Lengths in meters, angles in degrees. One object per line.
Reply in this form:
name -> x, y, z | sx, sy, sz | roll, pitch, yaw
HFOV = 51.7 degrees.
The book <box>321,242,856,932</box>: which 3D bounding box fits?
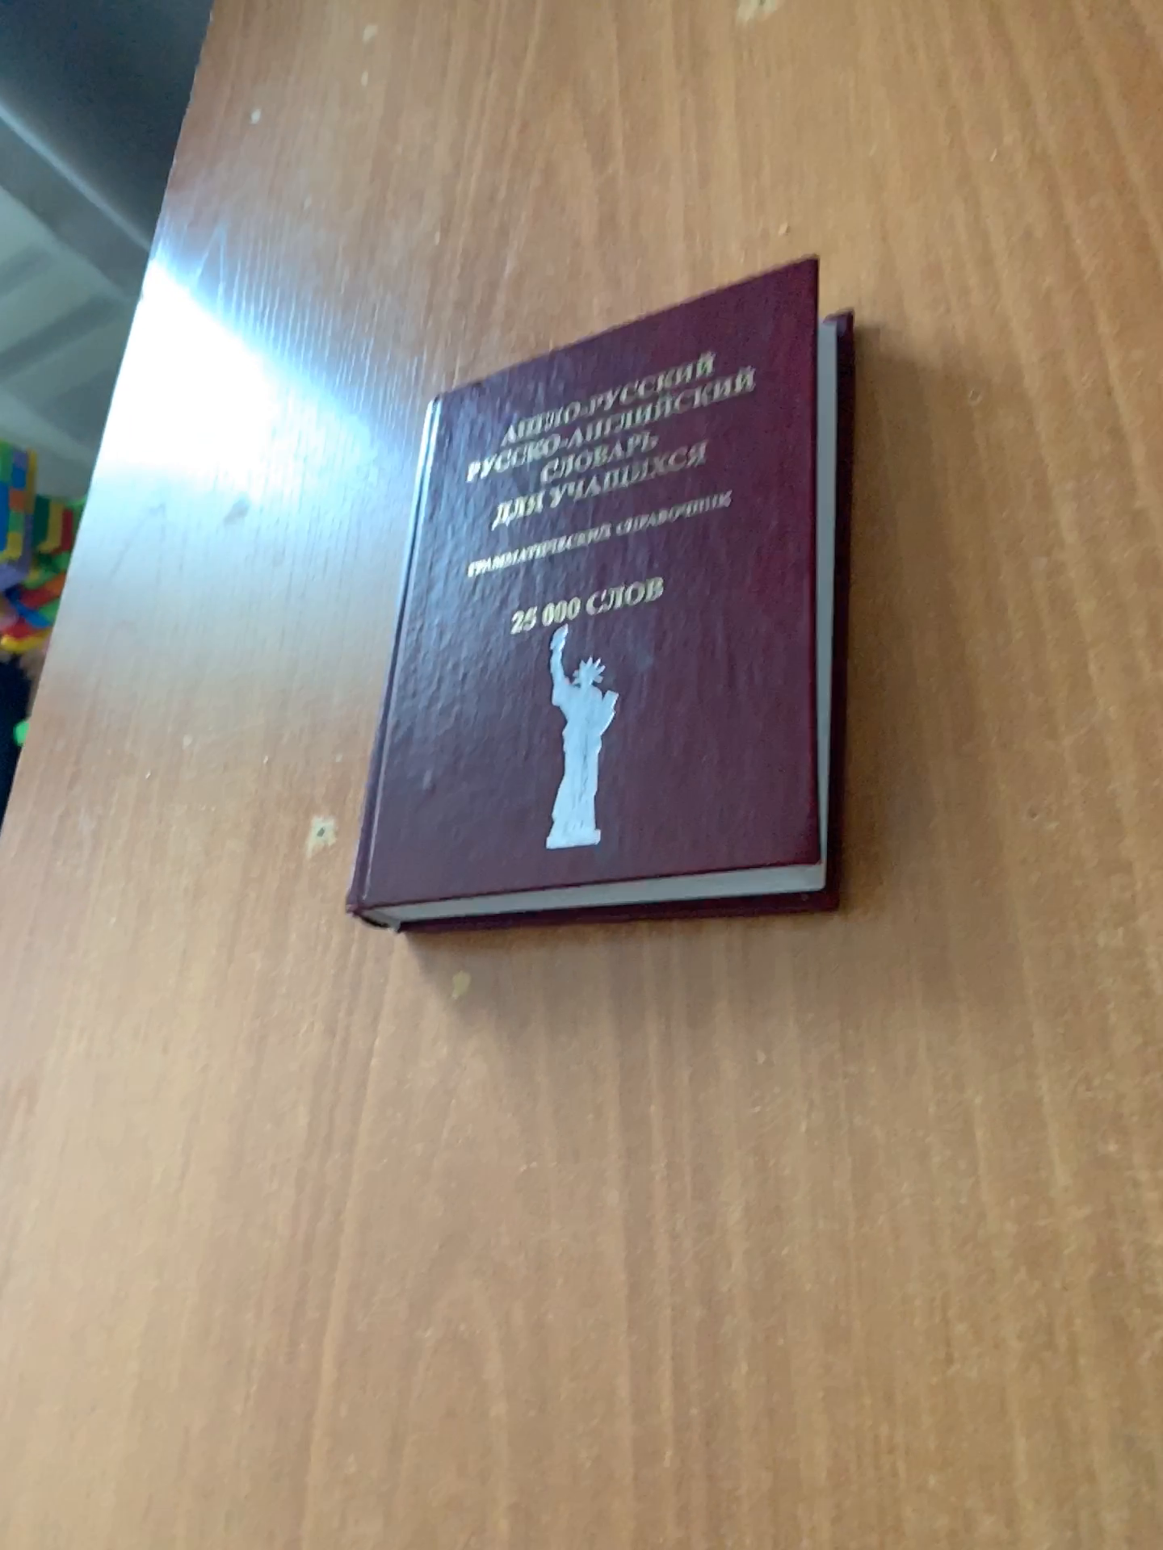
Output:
book -> 0.003, -0.046, 0.316 | 0.135, 0.023, 0.166 | -9, 64, 31
